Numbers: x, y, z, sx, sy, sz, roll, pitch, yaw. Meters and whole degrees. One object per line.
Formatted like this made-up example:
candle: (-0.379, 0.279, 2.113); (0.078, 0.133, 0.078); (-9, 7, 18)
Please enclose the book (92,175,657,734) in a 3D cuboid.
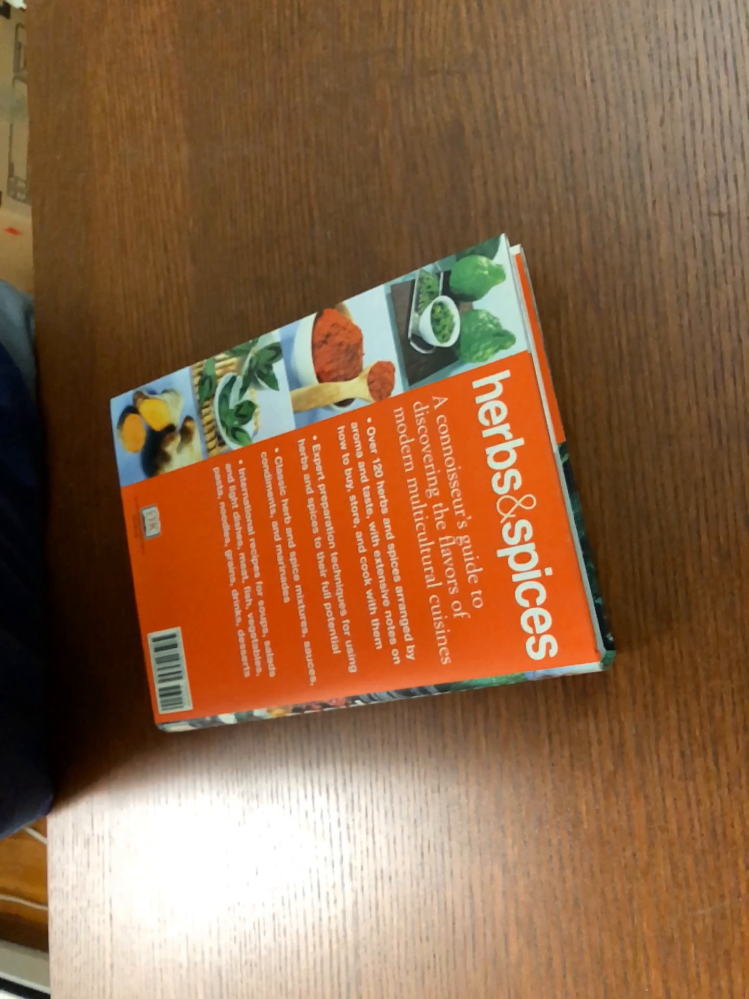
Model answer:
book: (-0.022, -0.004, 0.417); (0.271, 0.040, 0.210); (-14, 80, 29)
